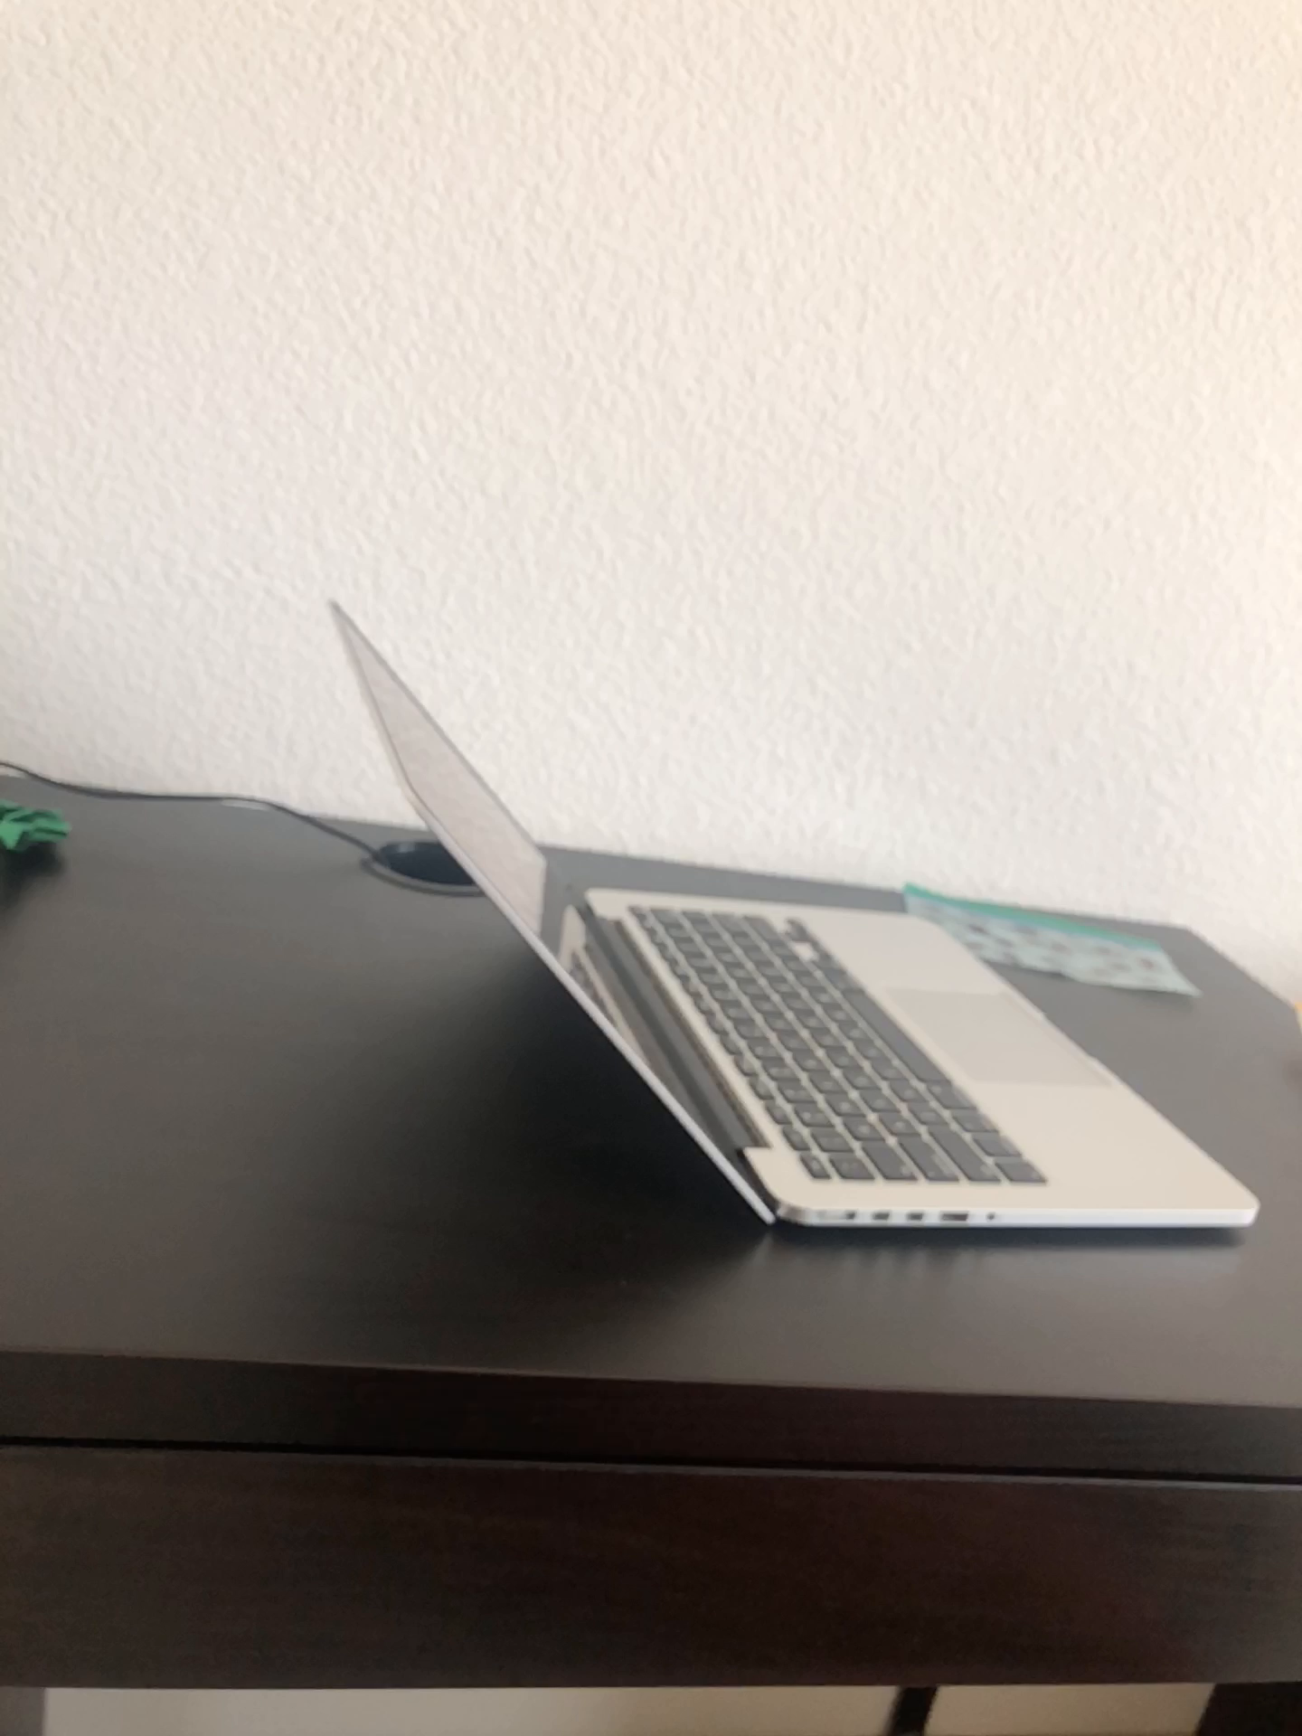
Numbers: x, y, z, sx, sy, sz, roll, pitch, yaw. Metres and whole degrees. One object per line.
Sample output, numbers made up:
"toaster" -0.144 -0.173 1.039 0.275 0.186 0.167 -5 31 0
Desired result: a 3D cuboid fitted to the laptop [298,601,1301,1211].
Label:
"laptop" 0.045 0.004 0.647 0.362 0.133 0.309 5 19 -18
